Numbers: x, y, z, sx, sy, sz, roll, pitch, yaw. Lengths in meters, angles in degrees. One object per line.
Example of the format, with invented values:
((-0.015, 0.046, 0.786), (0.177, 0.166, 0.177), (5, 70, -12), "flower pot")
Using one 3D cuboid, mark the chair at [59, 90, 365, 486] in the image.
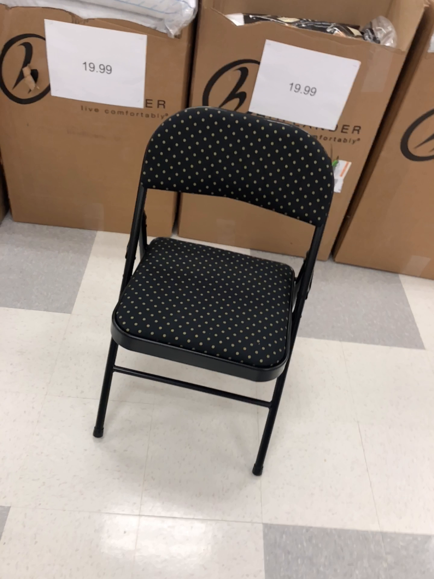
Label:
((-0.009, 0.020, 1.185), (0.484, 0.729, 0.542), (12, 45, 2), "chair")
